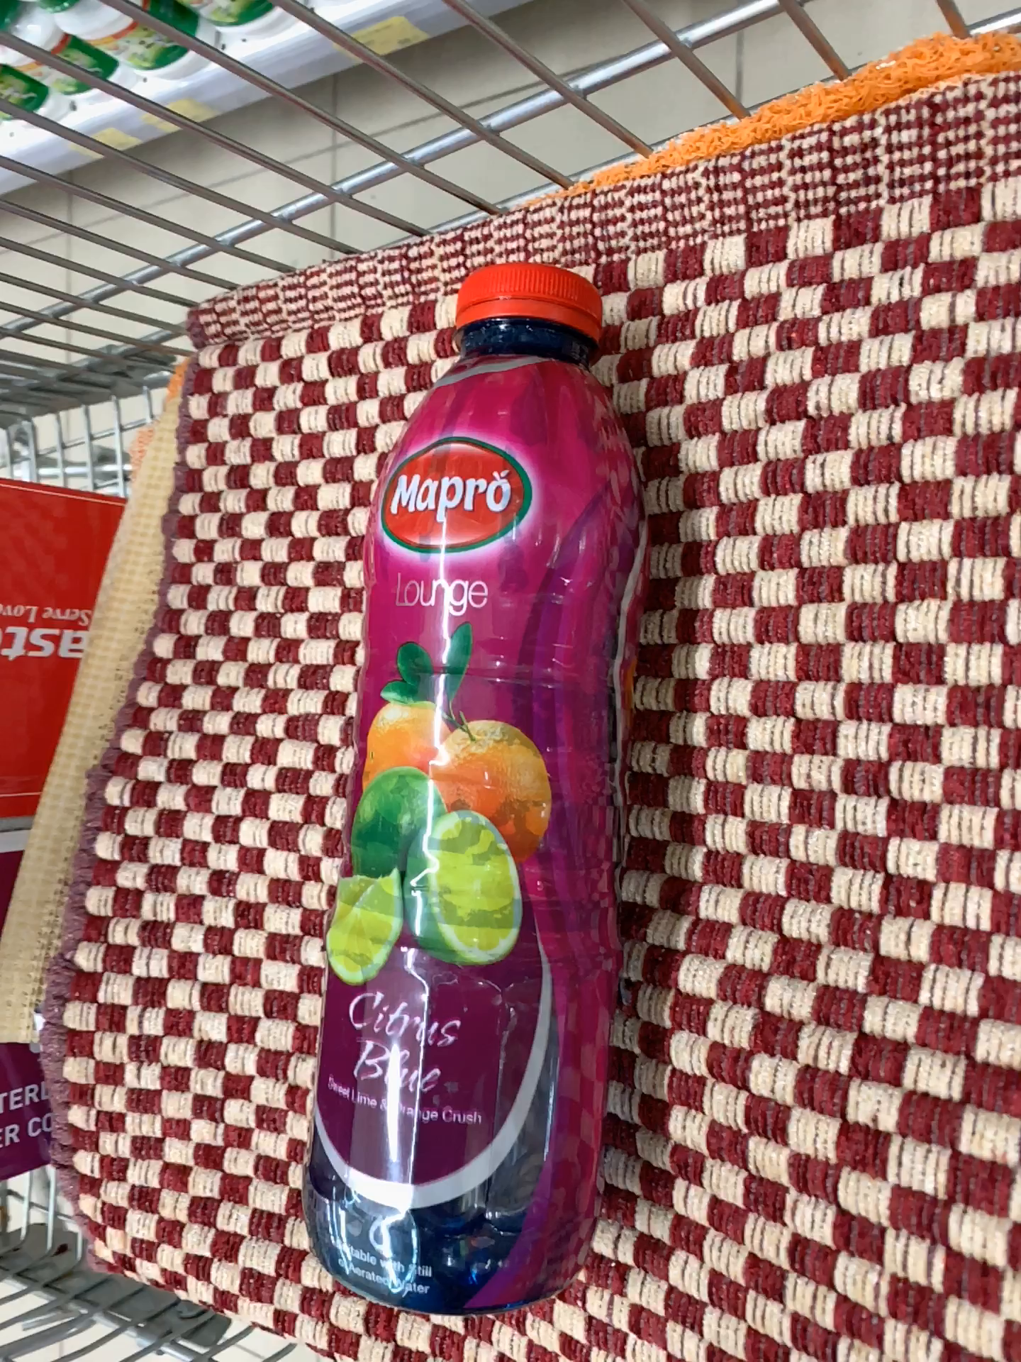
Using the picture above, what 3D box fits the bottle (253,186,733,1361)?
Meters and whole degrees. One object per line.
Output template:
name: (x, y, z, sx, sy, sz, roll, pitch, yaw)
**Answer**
bottle: (-0.003, 0.025, 0.262, 0.090, 0.070, 0.250, 3, 92, 24)
